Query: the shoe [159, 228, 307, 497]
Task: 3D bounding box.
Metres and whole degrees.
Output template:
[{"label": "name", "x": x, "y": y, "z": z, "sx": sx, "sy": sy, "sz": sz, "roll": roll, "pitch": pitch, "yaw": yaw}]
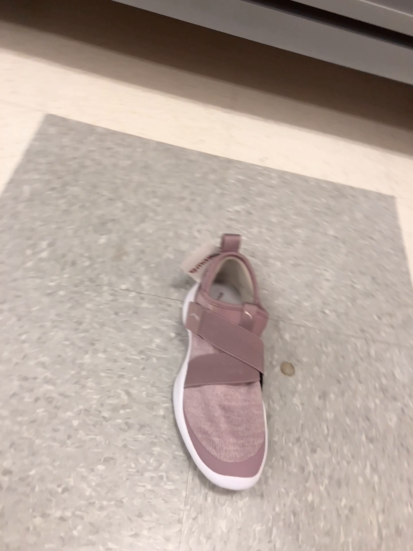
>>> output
[{"label": "shoe", "x": 0.013, "y": 0.083, "z": 0.505, "sx": 0.105, "sy": 0.093, "sz": 0.273, "roll": 2, "pitch": 54, "yaw": -14}]
